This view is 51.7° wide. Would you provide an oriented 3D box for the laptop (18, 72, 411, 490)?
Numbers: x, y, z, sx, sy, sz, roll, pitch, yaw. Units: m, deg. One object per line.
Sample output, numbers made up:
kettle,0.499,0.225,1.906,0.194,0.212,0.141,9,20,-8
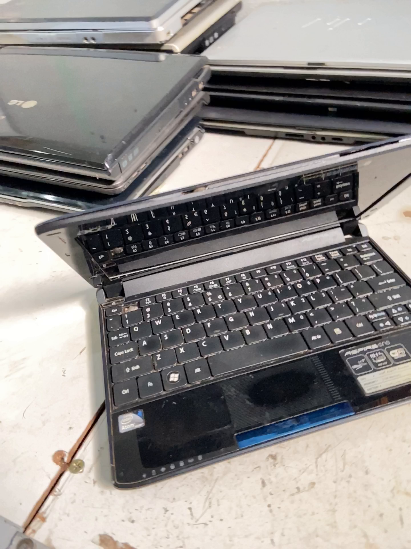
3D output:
laptop,0.037,-0.013,0.273,0.244,0.131,0.172,-15,42,-7
